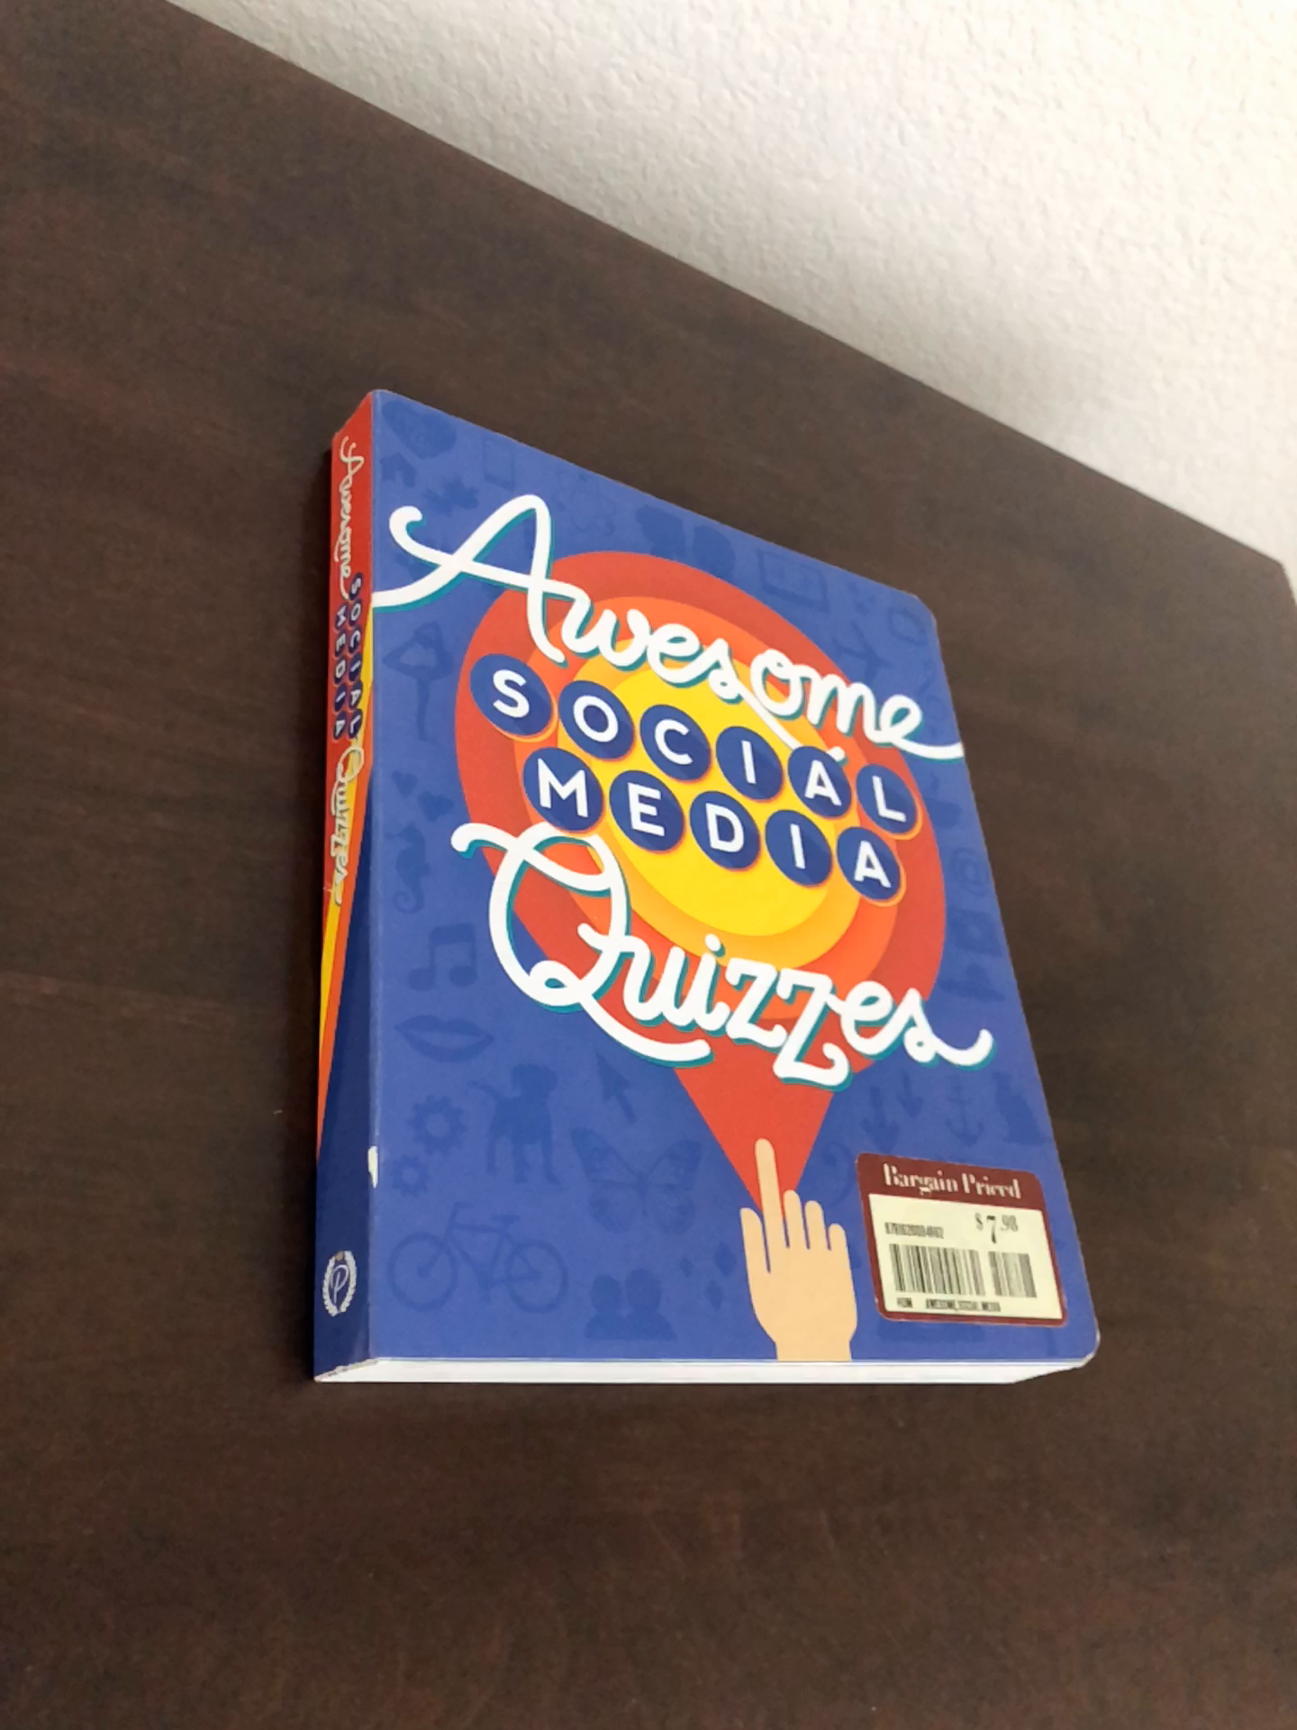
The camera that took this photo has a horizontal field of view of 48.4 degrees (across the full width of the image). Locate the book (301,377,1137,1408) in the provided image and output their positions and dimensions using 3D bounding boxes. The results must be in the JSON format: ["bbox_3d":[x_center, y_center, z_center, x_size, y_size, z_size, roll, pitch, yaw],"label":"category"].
[{"bbox_3d":[0.015,0.007,0.307,0.173,0.020,0.201,13,57,-32],"label":"book"}]
